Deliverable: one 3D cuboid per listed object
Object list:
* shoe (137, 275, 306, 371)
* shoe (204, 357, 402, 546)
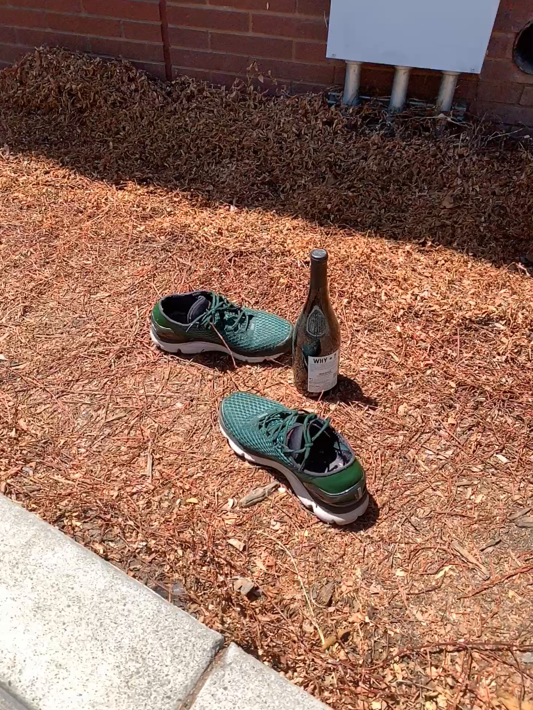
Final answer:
[{"bbox_3d":[-0.081,-0.064,1.060,0.300,0.099,0.131,5,45,3],"label":"shoe"},{"bbox_3d":[0.047,0.141,0.859,0.291,0.099,0.120,34,53,28],"label":"shoe"}]
